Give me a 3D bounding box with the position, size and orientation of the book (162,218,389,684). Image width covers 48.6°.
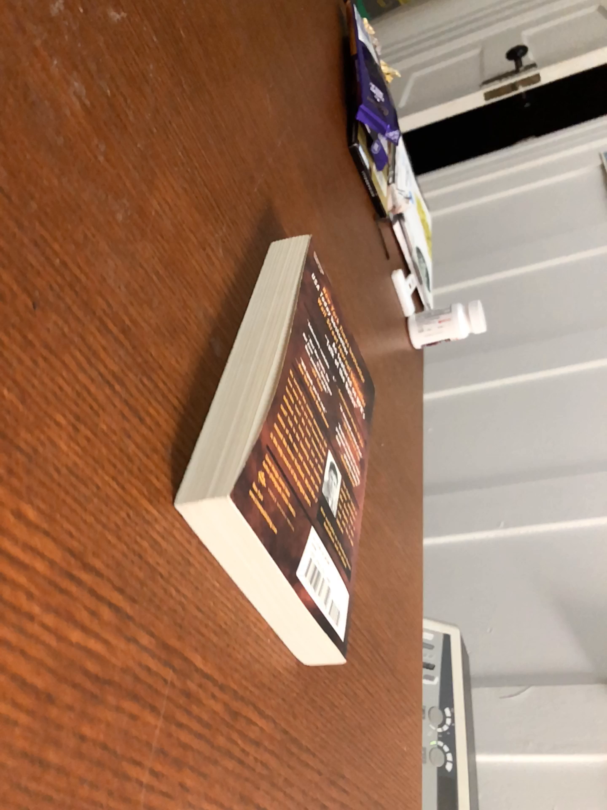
[{"bbox_3d":[0.004,0.013,0.373,0.221,0.030,0.140,-76,147,-47],"label":"book"}]
